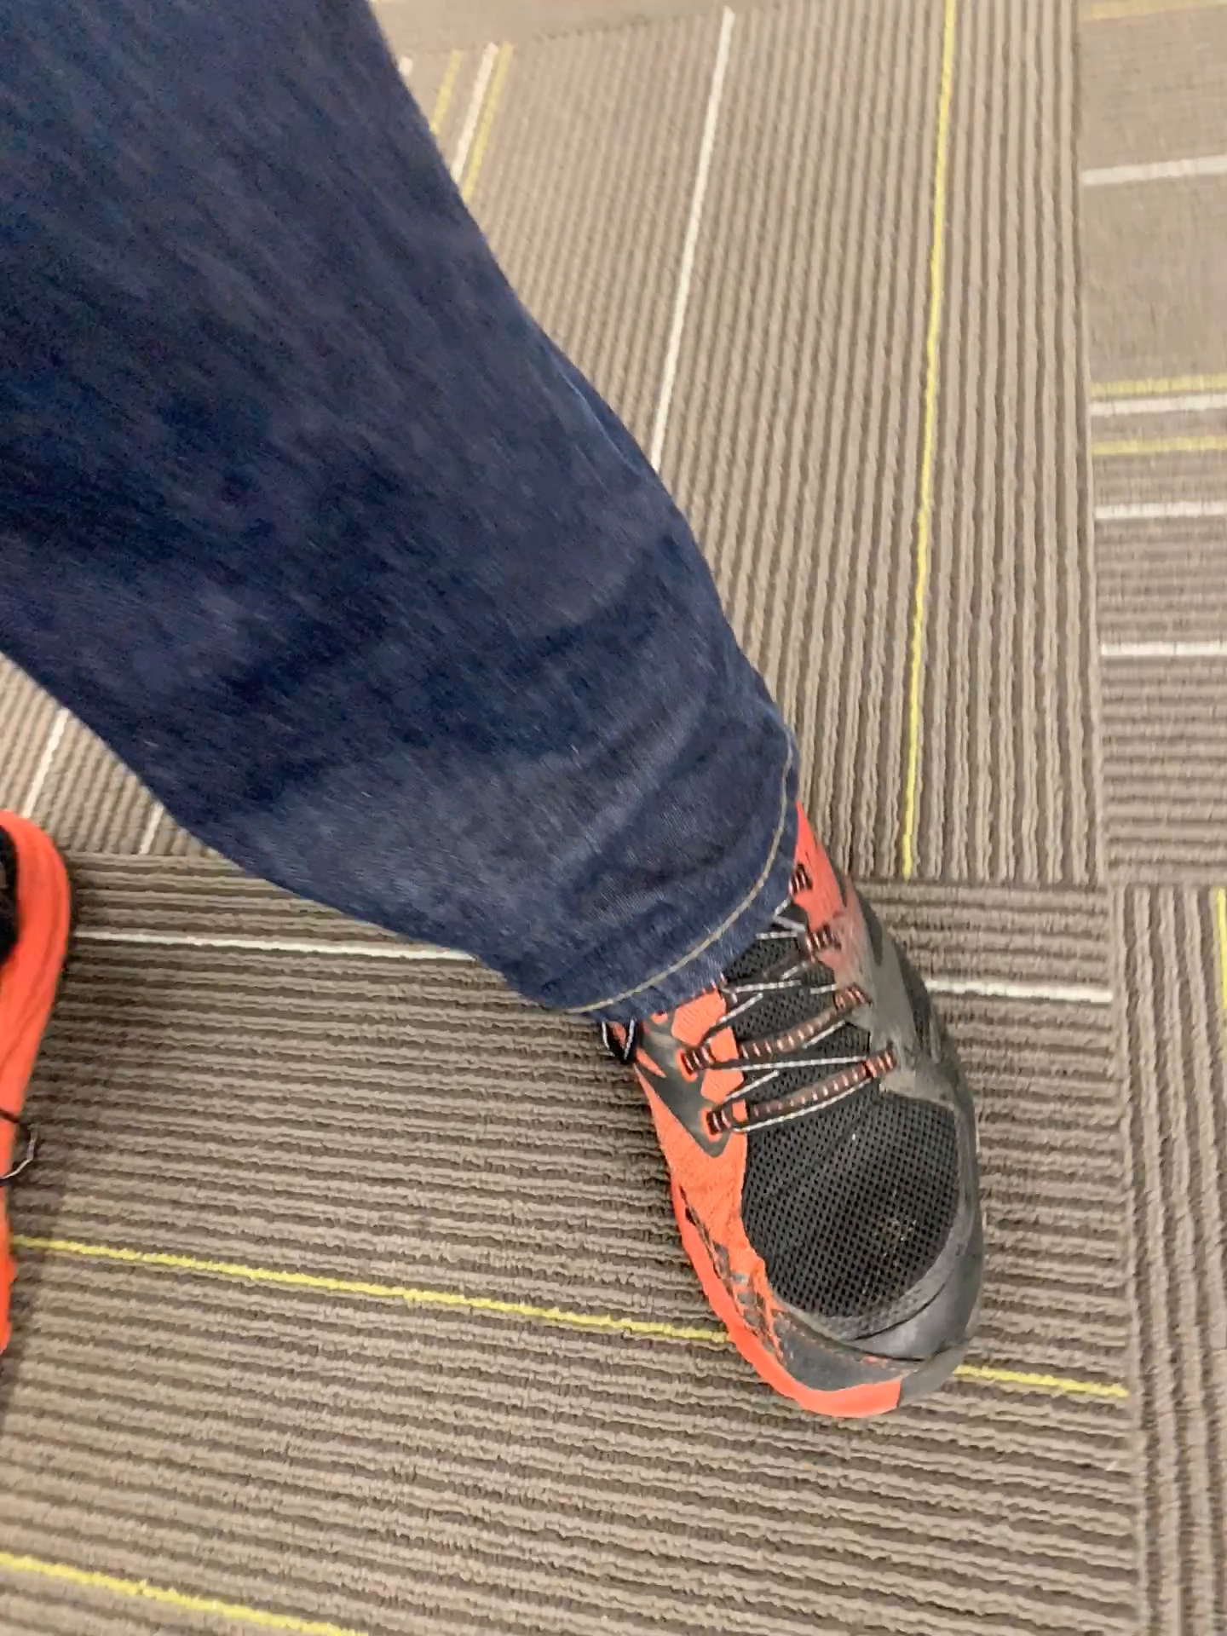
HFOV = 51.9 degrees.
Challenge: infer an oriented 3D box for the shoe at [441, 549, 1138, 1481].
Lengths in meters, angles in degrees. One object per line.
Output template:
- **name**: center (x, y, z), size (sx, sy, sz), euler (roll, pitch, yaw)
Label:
- **shoe**: center (0.049, 0.062, 0.469), size (0.130, 0.100, 0.301), euler (-22, 60, 2)

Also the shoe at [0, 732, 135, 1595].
- **shoe**: center (-0.310, 0.139, 0.545), size (0.120, 0.120, 0.321), euler (-10, 61, 9)
